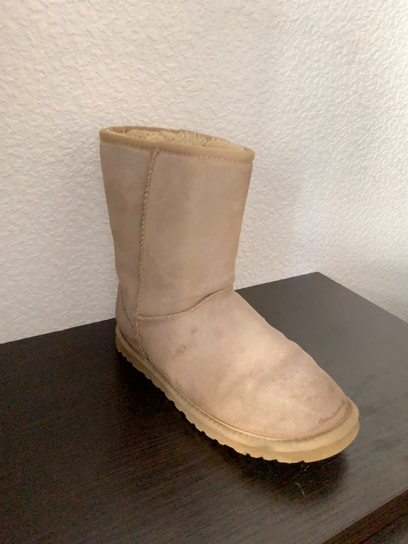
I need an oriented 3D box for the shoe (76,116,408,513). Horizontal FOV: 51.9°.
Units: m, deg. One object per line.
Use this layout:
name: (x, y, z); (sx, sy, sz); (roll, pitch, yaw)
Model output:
shoe: (0.022, 0.003, 0.357); (0.261, 0.229, 0.116); (23, 31, 37)
